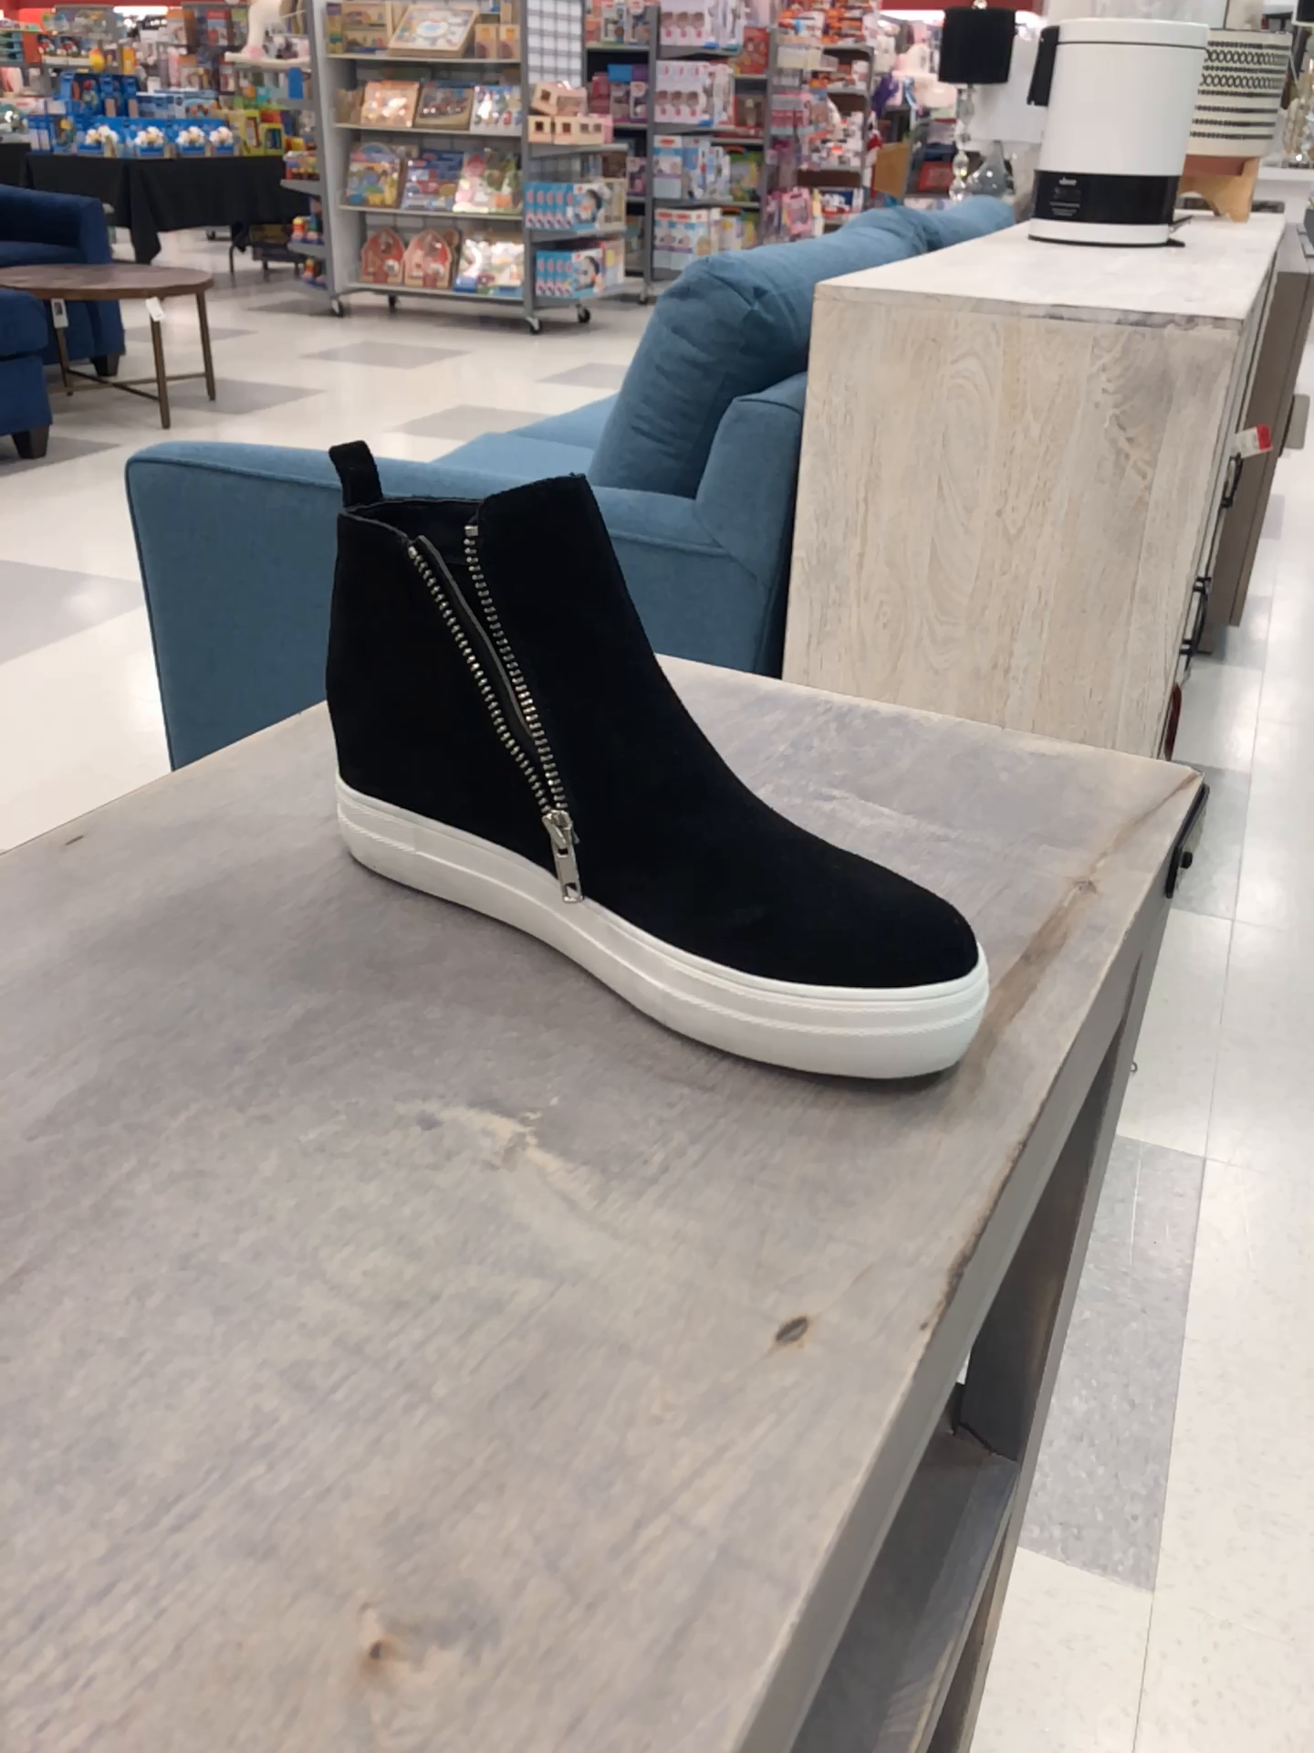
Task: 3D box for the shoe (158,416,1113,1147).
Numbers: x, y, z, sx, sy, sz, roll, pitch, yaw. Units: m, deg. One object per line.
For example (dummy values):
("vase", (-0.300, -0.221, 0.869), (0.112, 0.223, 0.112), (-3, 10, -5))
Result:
("shoe", (-0.020, -0.052, 0.480), (0.291, 0.146, 0.107), (20, 33, 31))
